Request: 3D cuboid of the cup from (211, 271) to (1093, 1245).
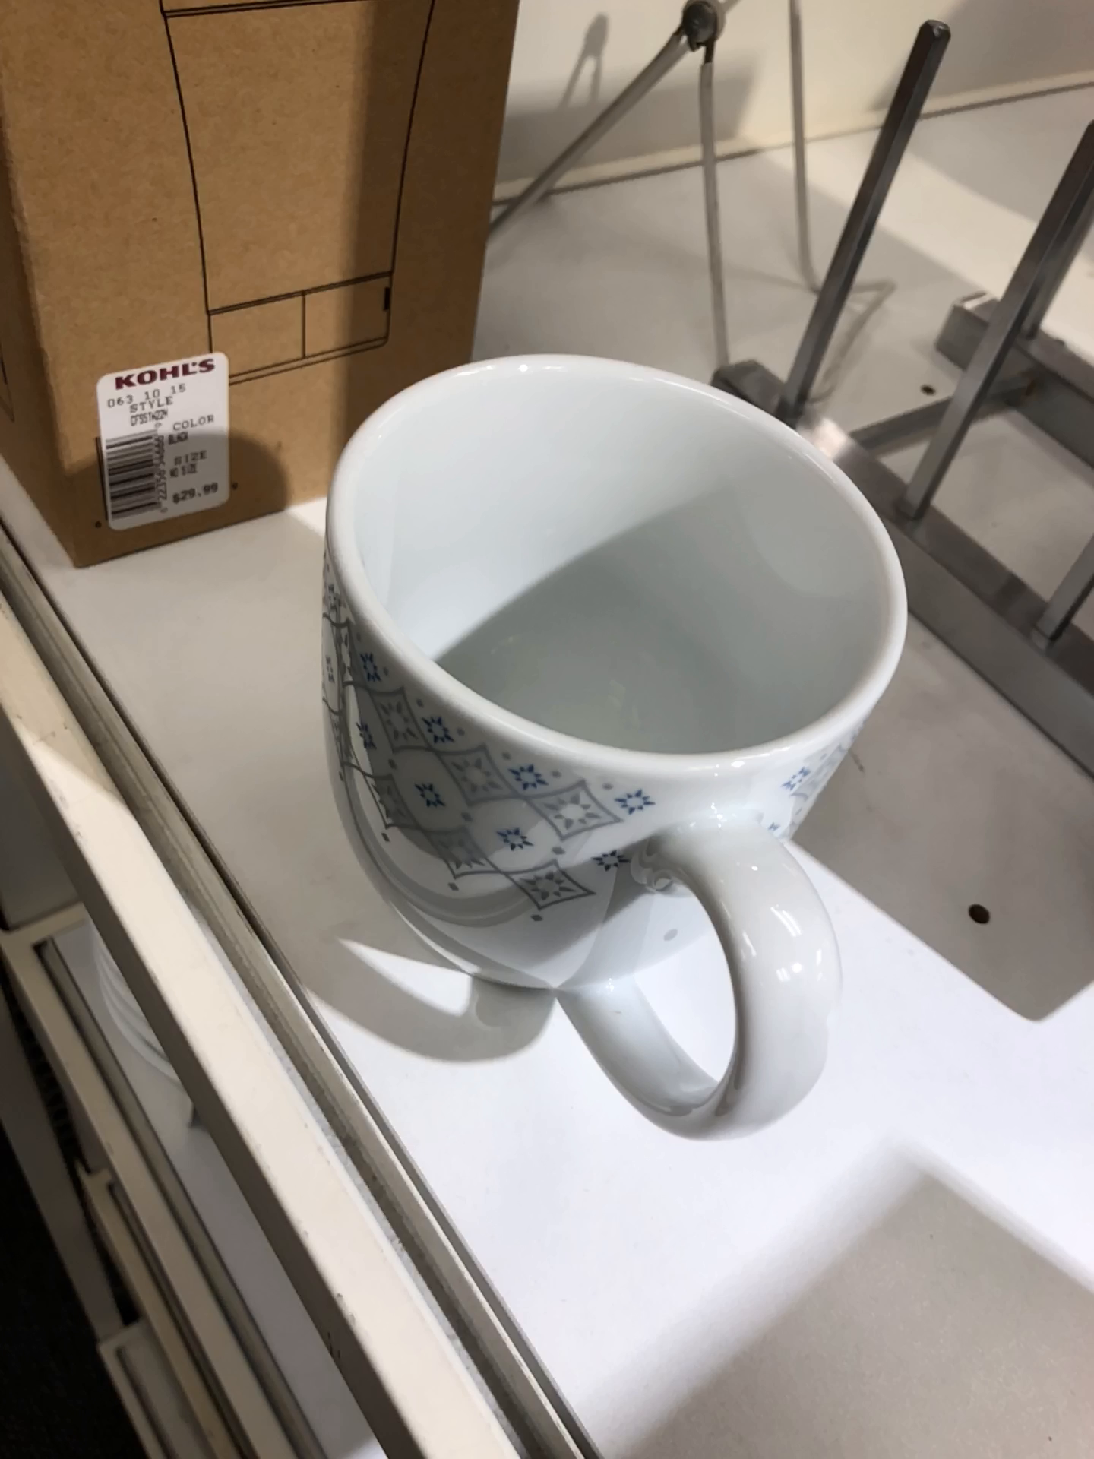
[{"bbox_3d":[0.005,-0.002,0.234,0.099,0.099,0.136,-13,53,-20],"label":"cup"}]
